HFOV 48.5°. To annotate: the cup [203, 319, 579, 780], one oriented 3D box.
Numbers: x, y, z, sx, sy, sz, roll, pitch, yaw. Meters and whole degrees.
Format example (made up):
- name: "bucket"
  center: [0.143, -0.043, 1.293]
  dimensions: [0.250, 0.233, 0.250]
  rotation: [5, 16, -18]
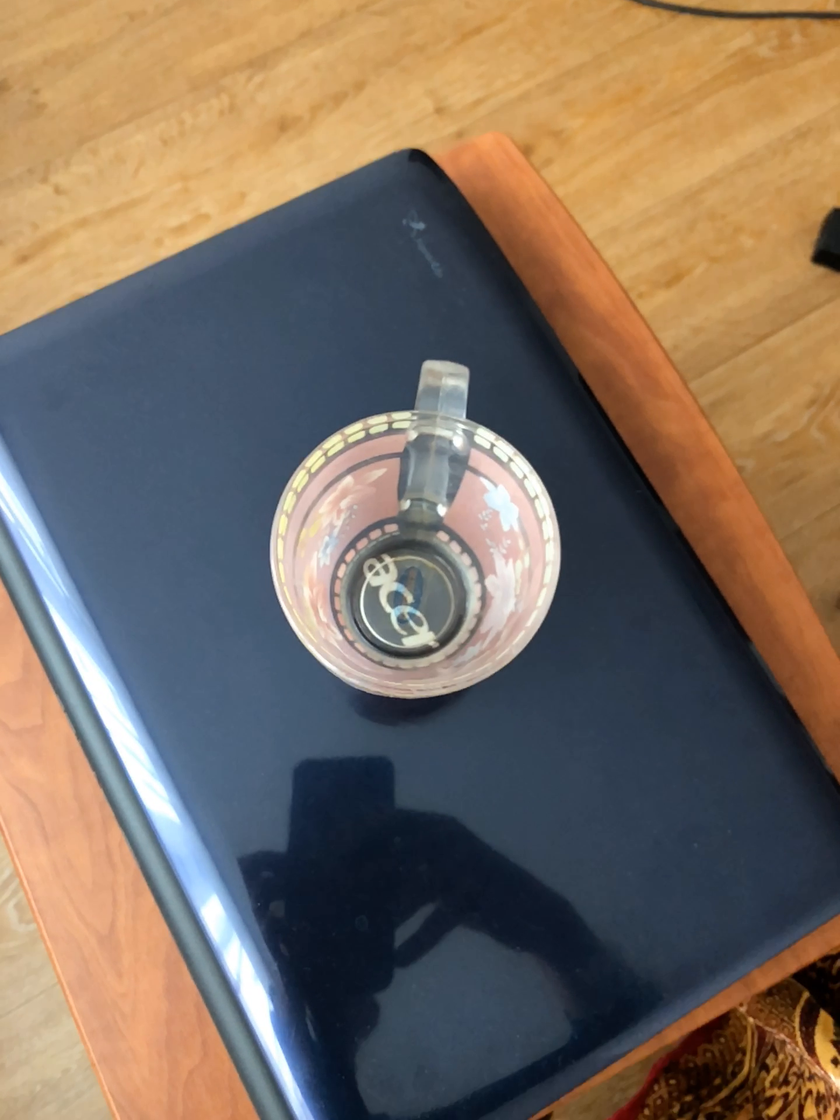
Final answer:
- name: "cup"
  center: [-0.006, 0.002, 0.320]
  dimensions: [0.095, 0.082, 0.130]
  rotation: [8, 77, 1]
